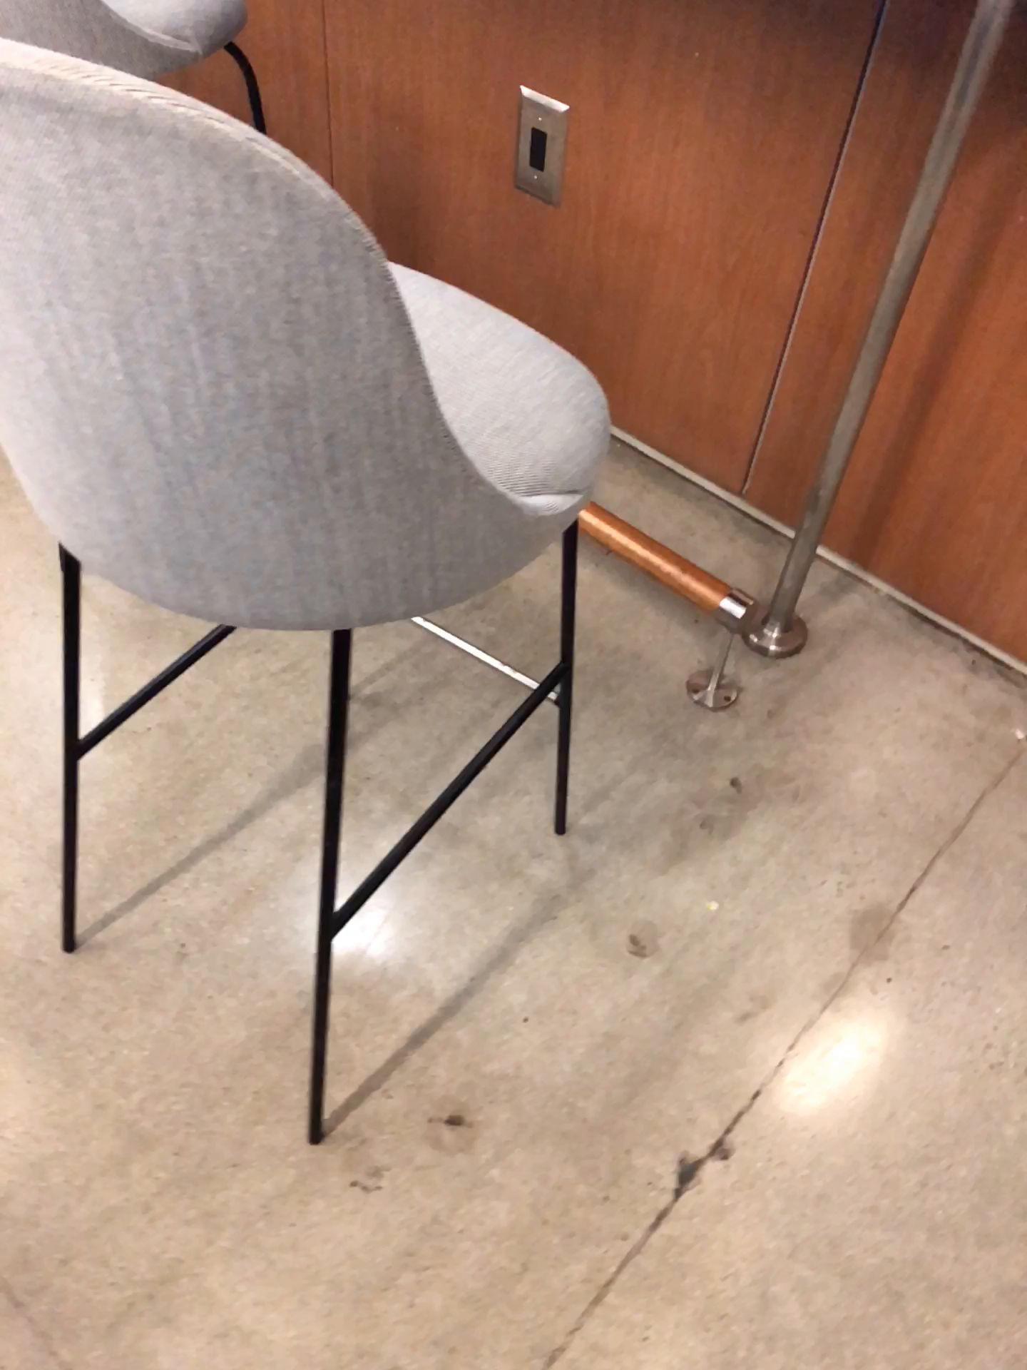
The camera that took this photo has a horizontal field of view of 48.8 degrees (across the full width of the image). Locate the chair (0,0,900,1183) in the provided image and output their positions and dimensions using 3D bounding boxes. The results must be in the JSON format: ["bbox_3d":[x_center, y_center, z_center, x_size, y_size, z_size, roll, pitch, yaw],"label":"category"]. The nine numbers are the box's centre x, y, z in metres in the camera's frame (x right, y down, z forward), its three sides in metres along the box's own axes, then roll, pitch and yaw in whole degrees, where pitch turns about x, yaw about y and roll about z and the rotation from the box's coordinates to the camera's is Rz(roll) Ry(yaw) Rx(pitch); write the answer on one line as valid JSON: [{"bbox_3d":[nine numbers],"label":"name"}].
[{"bbox_3d":[-0.158,-0.120,1.045,0.461,1.096,0.622,31,53,20],"label":"chair"}]
